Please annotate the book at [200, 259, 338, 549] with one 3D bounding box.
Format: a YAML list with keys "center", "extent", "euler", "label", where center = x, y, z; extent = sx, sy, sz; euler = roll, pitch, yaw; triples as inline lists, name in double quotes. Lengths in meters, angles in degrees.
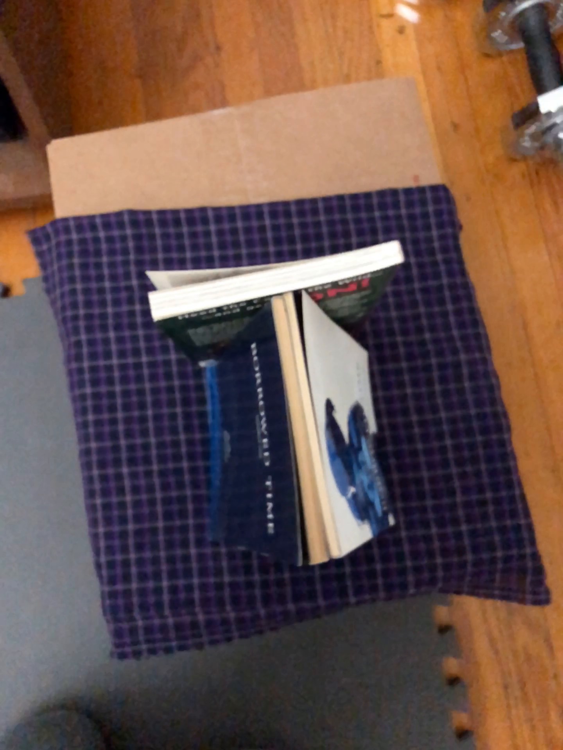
- center: [-0.020, 0.030, 0.415]
  extent: [0.010, 0.200, 0.150]
  euler: [-2, 80, -21]
  label: "book"

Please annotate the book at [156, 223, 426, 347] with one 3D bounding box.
- center: [0.003, -0.052, 0.424]
  extent: [0.140, 0.190, 0.020]
  euler: [-10, 86, -2]
  label: "book"

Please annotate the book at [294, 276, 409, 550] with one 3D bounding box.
- center: [0.053, 0.031, 0.413]
  extent: [0.010, 0.200, 0.140]
  euler: [-12, 78, 16]
  label: "book"
